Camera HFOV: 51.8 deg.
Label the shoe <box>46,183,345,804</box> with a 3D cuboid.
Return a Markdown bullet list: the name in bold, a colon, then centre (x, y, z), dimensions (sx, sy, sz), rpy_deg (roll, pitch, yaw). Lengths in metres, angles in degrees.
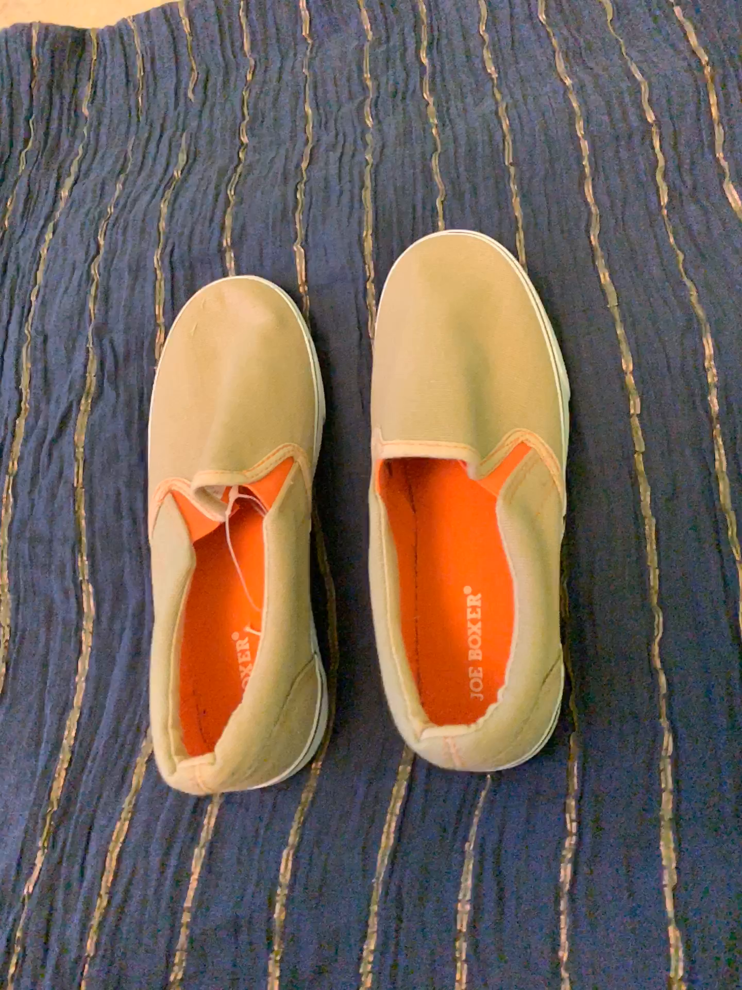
- **shoe**: centre (-0.072, -0.003, 0.355), dimensions (0.095, 0.080, 0.263), rpy_deg (-6, 71, 10)

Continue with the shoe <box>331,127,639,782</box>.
- **shoe**: centre (0.043, -0.019, 0.343), dimensions (0.100, 0.080, 0.271), rpy_deg (-6, 71, 10)
